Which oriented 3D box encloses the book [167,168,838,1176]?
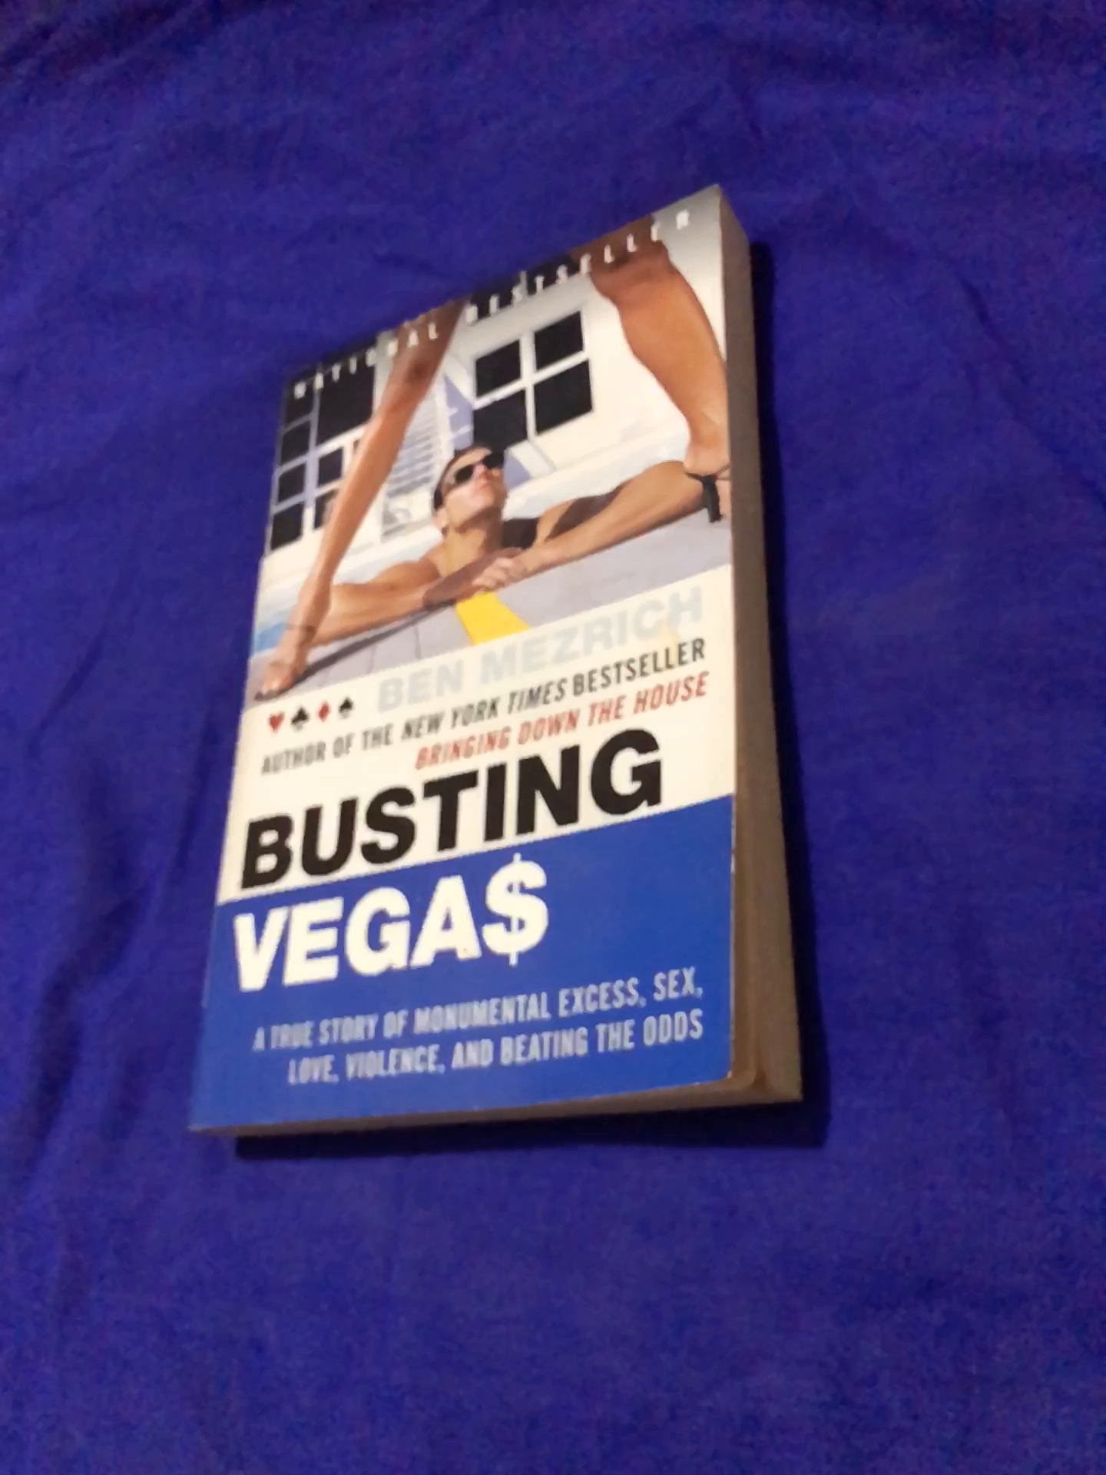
[{"bbox_3d":[-0.011,-0.014,0.287,0.130,0.040,0.210,-13,61,29],"label":"book"}]
